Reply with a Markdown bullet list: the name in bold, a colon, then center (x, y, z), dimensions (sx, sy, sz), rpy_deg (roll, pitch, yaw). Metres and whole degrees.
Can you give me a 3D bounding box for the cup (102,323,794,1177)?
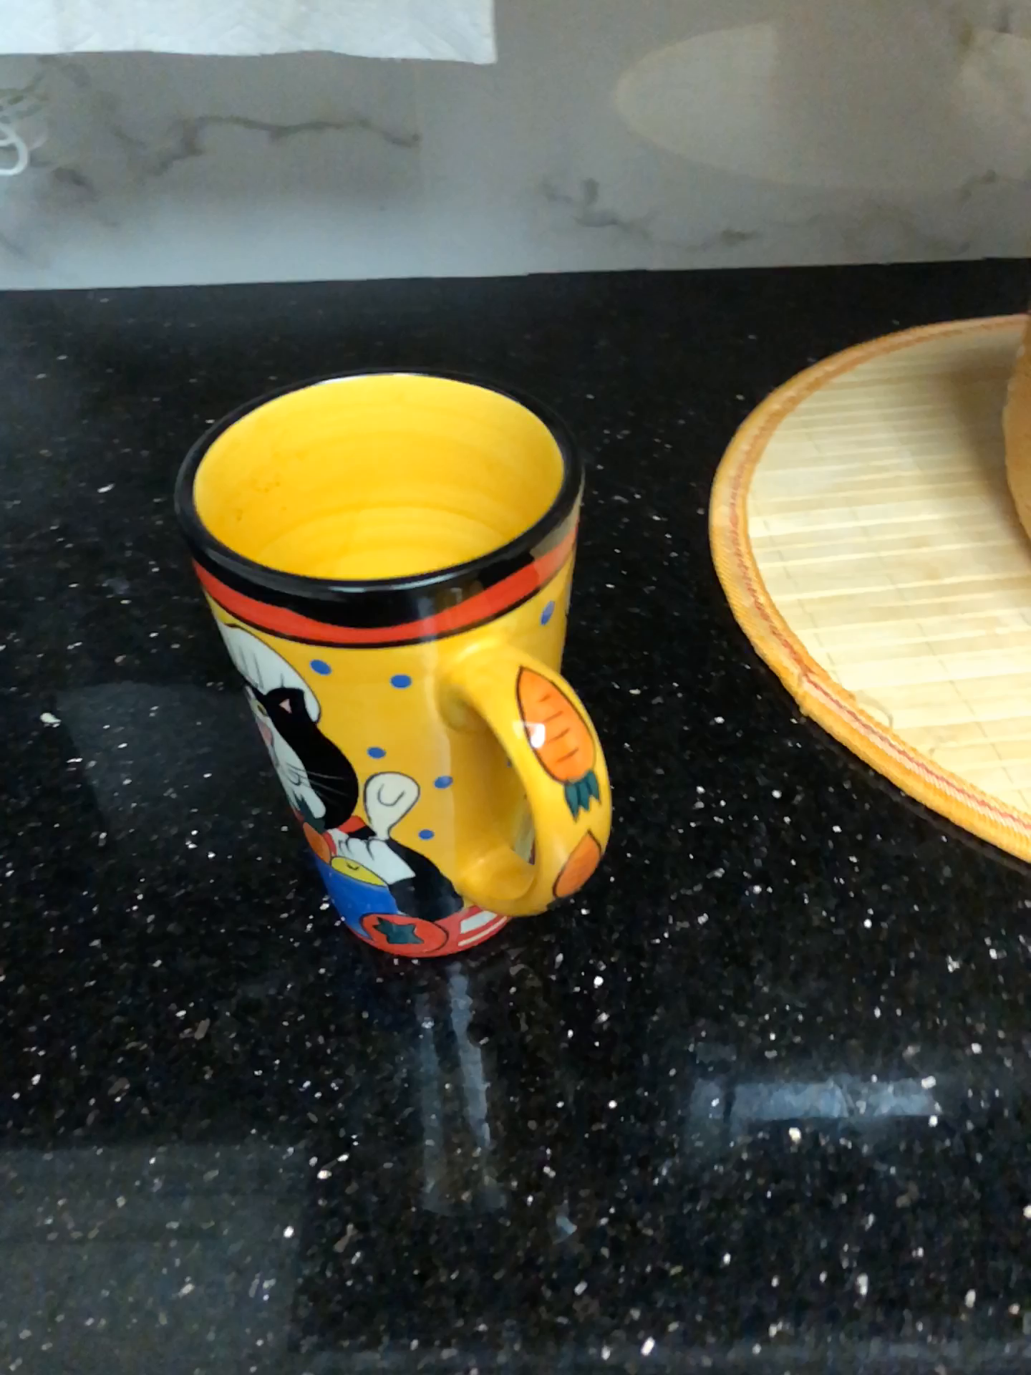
- **cup**: center (-0.019, 0.012, 0.282), dimensions (0.090, 0.139, 0.131), rpy_deg (-24, 48, -21)
